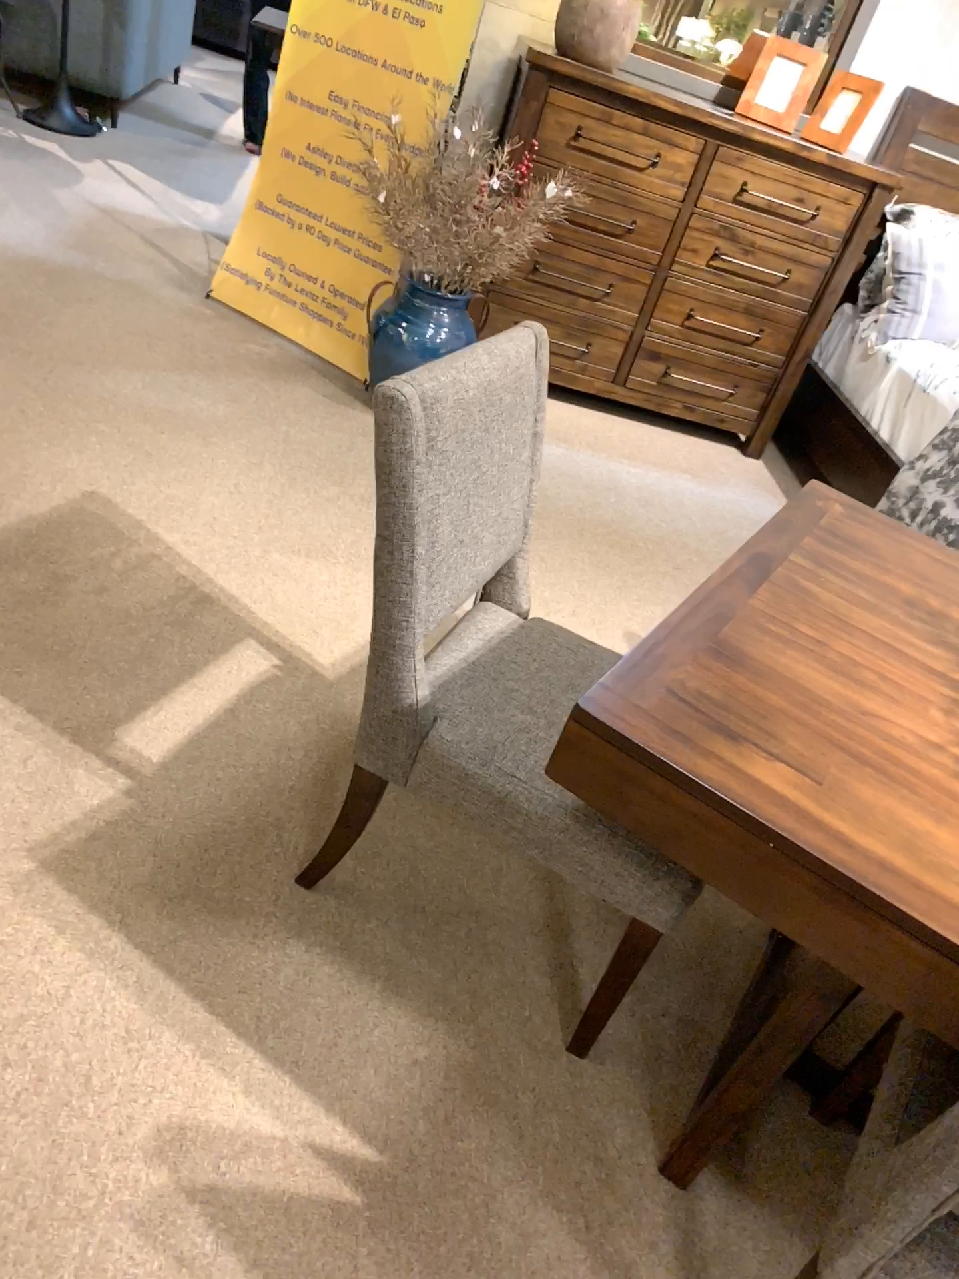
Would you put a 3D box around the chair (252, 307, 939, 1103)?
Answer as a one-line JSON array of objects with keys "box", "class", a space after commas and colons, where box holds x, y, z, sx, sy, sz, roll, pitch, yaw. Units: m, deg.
[{"box": [0.135, 0.089, 1.435, 0.631, 0.863, 0.481, 27, 34, 11], "class": "chair"}]

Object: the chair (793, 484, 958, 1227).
[{"box": [0.995, 0.316, 1.561, 0.480, 0.863, 0.633, 31, 35, 16], "class": "chair"}]
